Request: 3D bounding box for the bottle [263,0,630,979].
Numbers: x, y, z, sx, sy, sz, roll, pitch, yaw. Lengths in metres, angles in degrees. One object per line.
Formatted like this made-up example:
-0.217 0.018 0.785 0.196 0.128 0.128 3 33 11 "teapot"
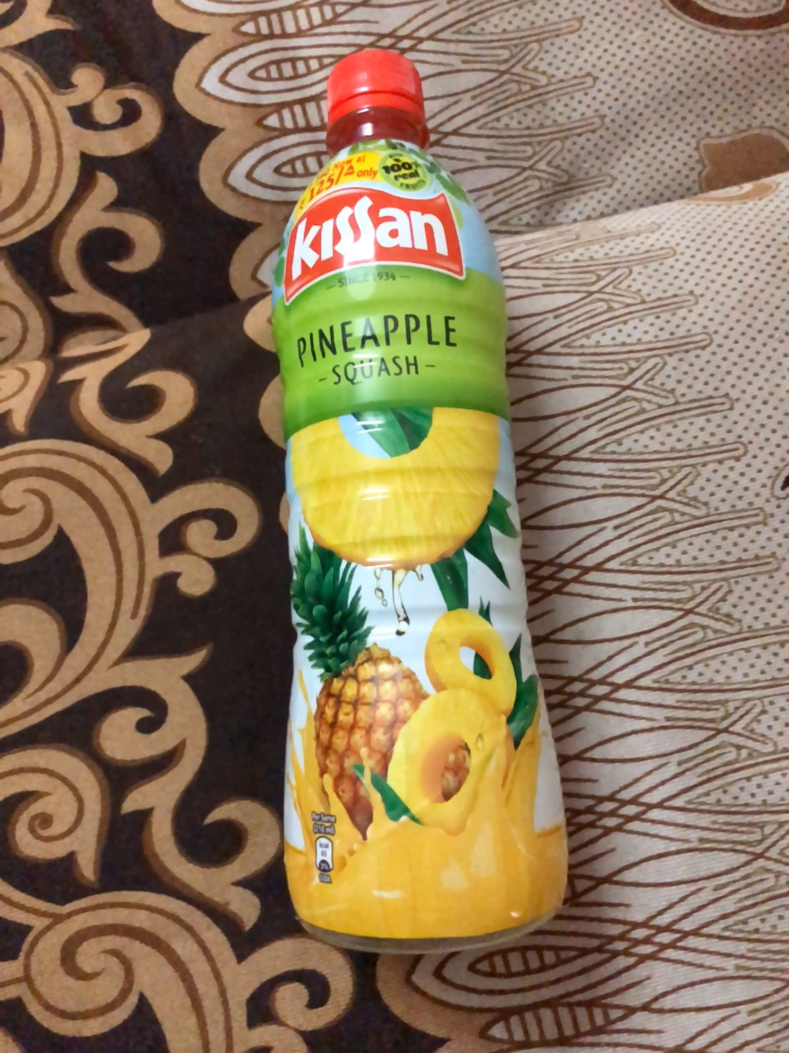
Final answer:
0.010 -0.020 0.233 0.070 0.060 0.240 -4 81 3 "bottle"
